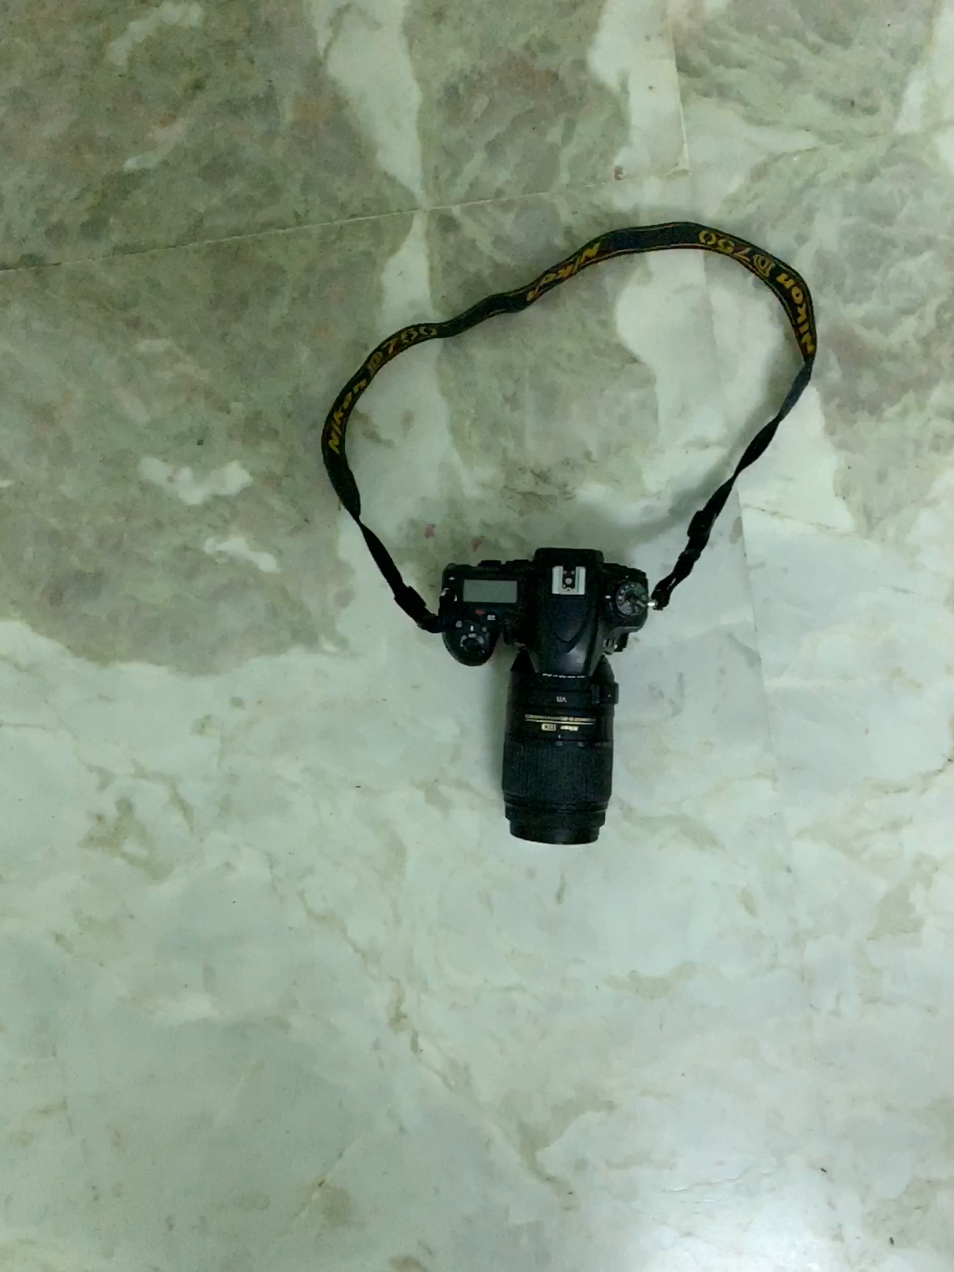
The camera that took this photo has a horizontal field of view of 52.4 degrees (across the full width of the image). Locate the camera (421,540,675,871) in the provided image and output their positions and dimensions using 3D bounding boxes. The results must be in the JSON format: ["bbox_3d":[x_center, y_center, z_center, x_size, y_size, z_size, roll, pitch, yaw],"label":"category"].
[{"bbox_3d":[0.049,0.046,0.670,0.150,0.120,0.200,3,86,4],"label":"camera"}]
